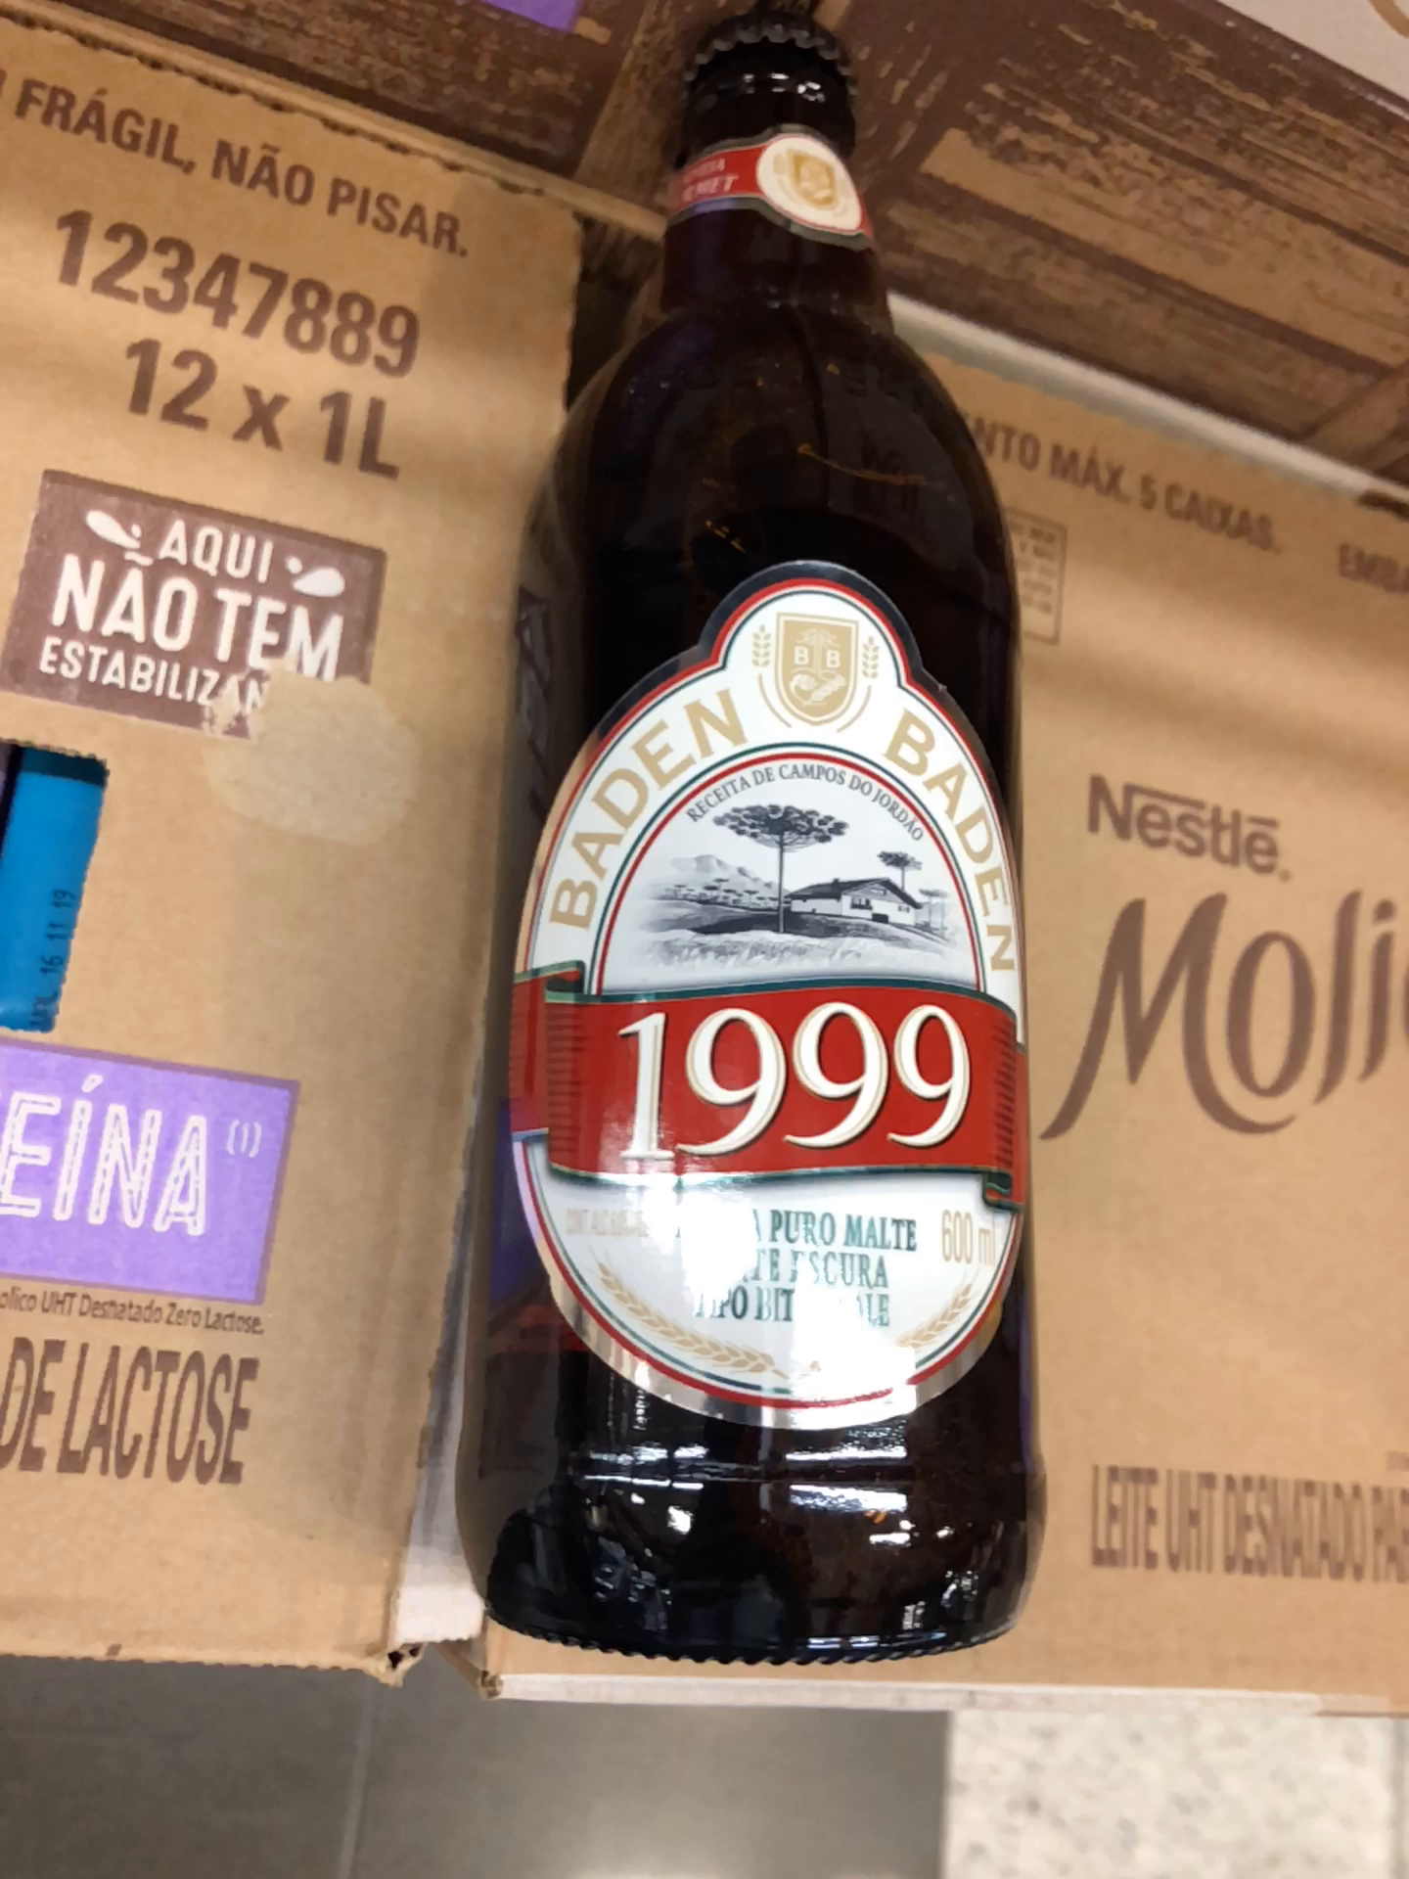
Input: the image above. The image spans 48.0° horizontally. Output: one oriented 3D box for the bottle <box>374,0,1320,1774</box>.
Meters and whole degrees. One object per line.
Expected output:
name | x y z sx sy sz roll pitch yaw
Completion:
bottle | 0.009 -0.042 0.245 0.090 0.100 0.280 5 74 -21
